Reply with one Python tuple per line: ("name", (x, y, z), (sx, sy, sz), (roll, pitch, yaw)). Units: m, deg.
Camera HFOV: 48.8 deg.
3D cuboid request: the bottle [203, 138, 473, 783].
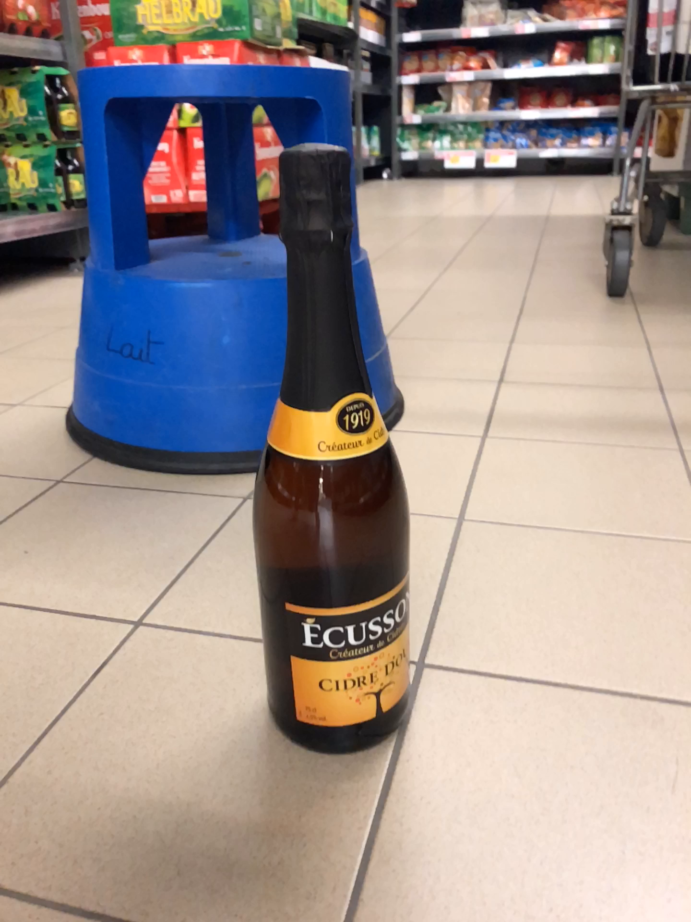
("bottle", (-0.003, 0.002, 0.382), (0.090, 0.298, 0.090), (-2, 22, 1))
